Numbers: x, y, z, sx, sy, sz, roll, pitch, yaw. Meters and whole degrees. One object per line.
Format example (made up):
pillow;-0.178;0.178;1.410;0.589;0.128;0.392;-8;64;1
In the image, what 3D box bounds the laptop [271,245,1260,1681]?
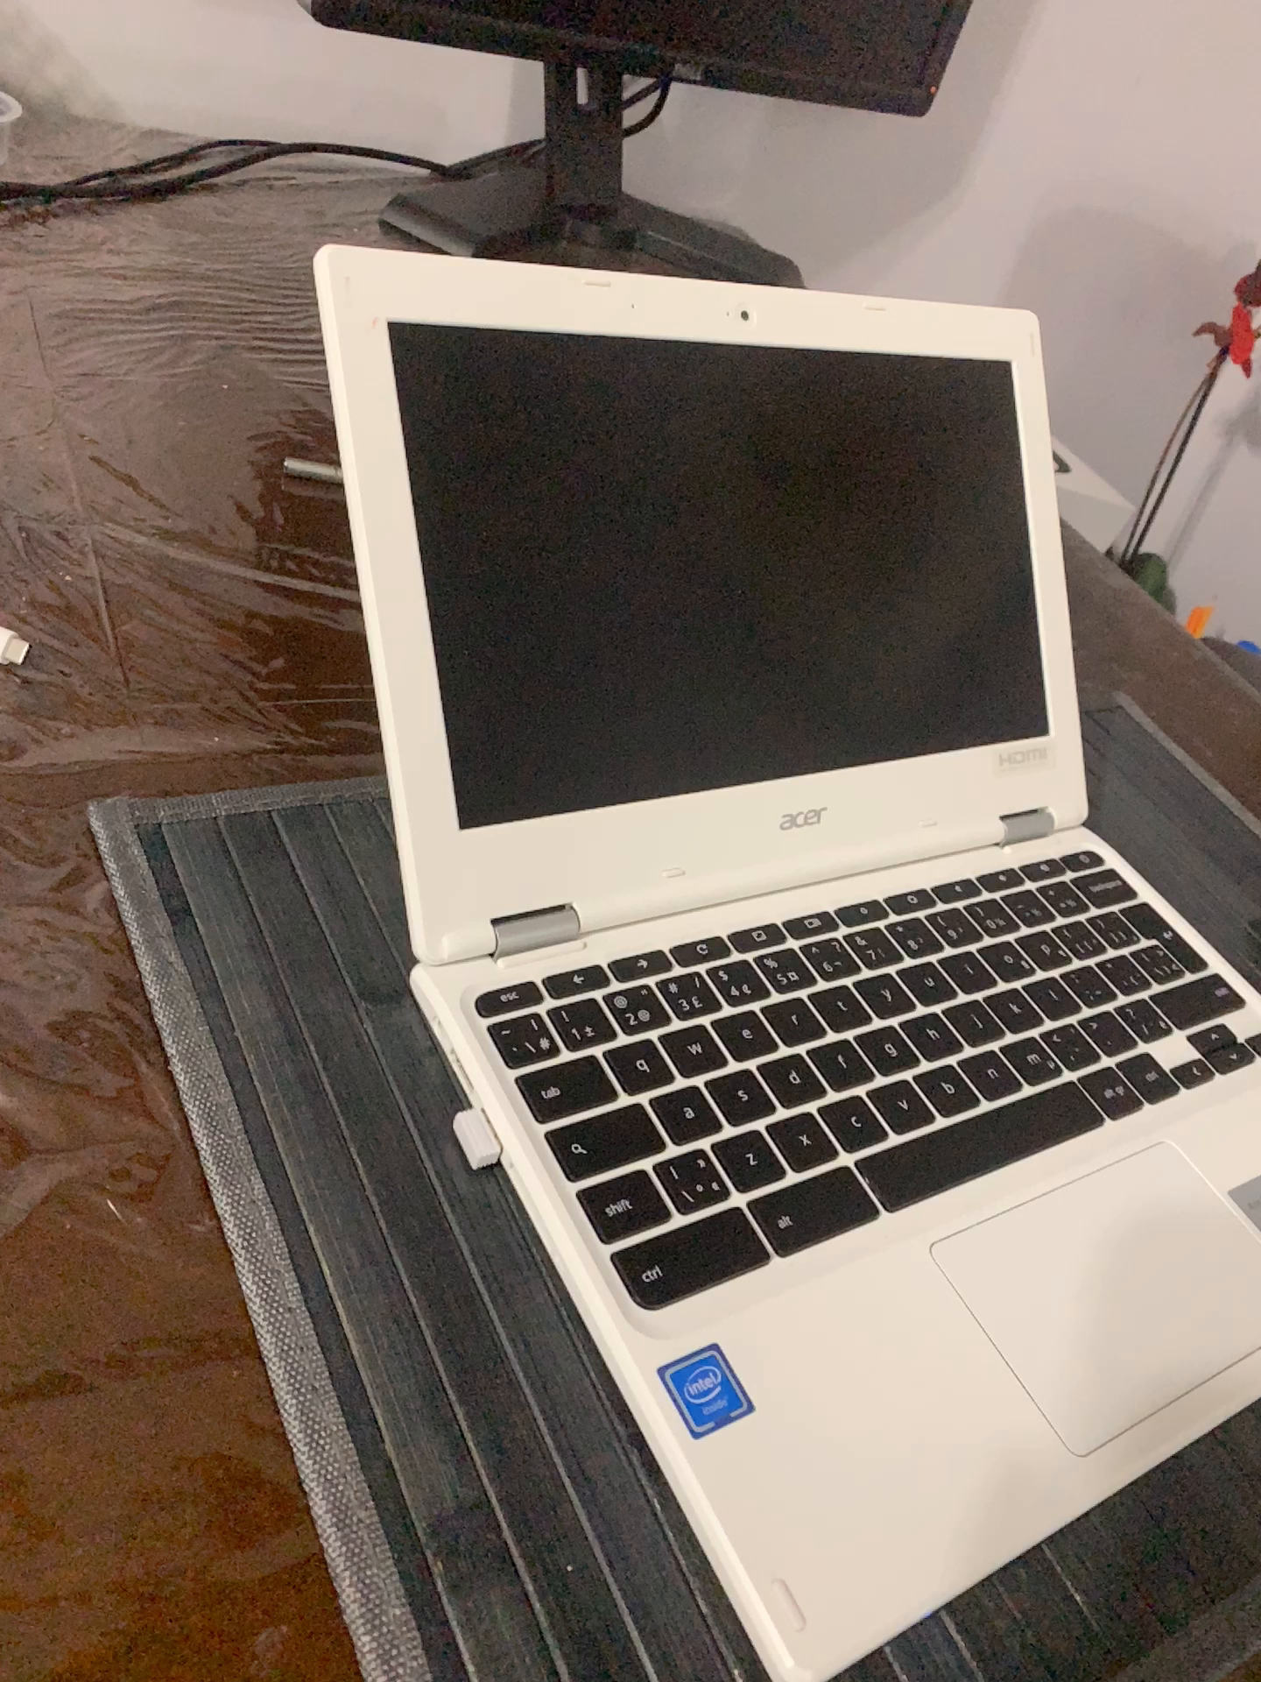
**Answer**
laptop;0.094;-0.018;0.378;0.285;0.142;0.328;-10;49;-32
